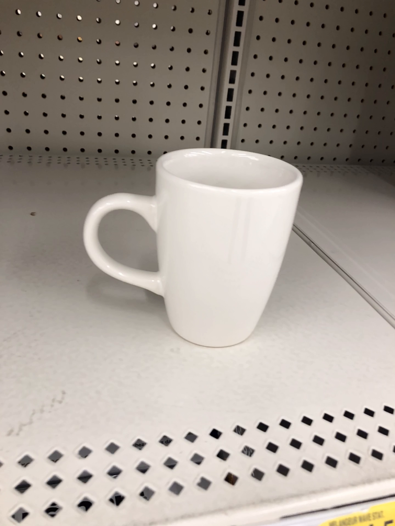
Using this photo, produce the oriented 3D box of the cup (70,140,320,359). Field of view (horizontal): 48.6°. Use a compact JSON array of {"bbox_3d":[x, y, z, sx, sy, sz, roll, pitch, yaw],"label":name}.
[{"bbox_3d":[-0.006,-0.010,0.279,0.125,0.105,0.081,4,28,-4],"label":"cup"}]
